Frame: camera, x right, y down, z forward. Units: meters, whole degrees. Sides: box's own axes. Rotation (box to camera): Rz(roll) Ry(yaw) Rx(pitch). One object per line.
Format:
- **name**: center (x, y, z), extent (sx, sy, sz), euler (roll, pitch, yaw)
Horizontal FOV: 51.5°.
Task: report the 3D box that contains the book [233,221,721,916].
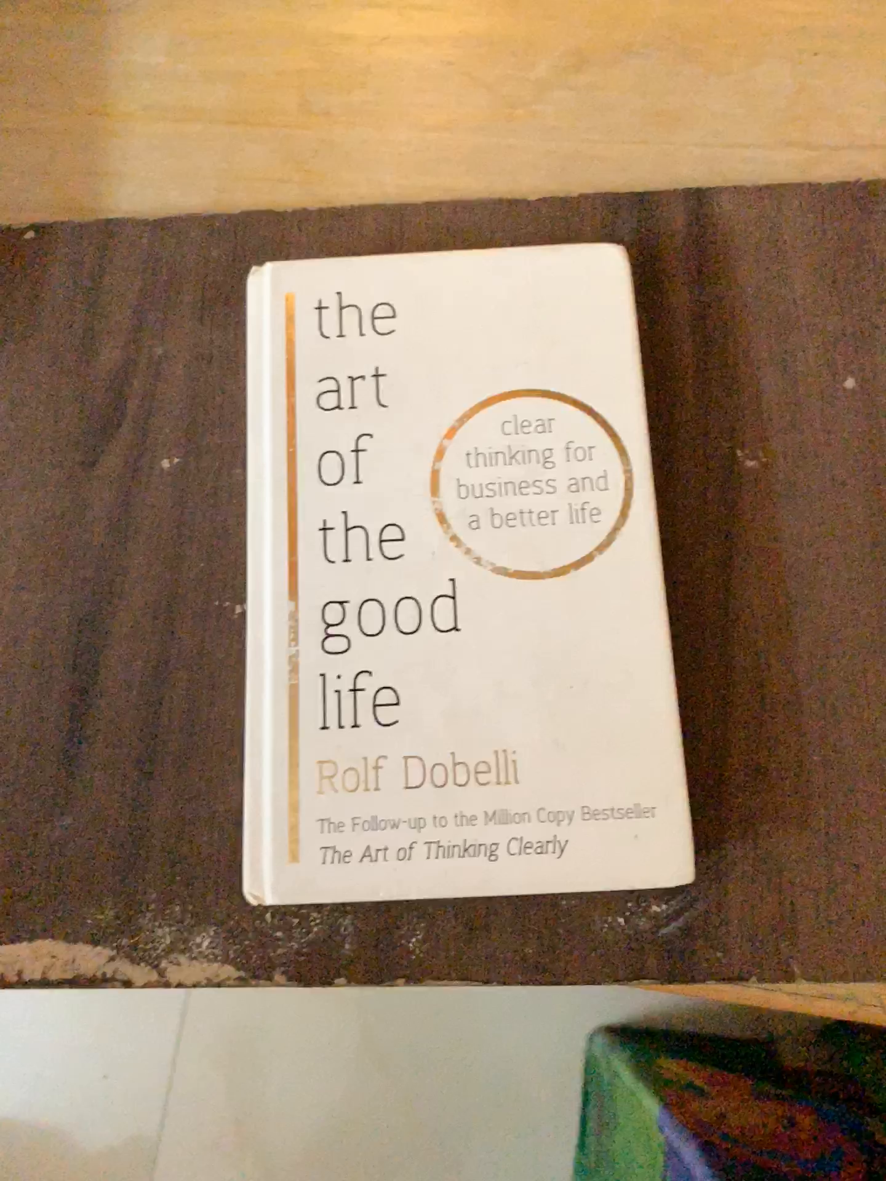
- **book**: center (0.005, -0.008, 0.257), extent (0.117, 0.037, 0.180), euler (-2, 78, 2)
